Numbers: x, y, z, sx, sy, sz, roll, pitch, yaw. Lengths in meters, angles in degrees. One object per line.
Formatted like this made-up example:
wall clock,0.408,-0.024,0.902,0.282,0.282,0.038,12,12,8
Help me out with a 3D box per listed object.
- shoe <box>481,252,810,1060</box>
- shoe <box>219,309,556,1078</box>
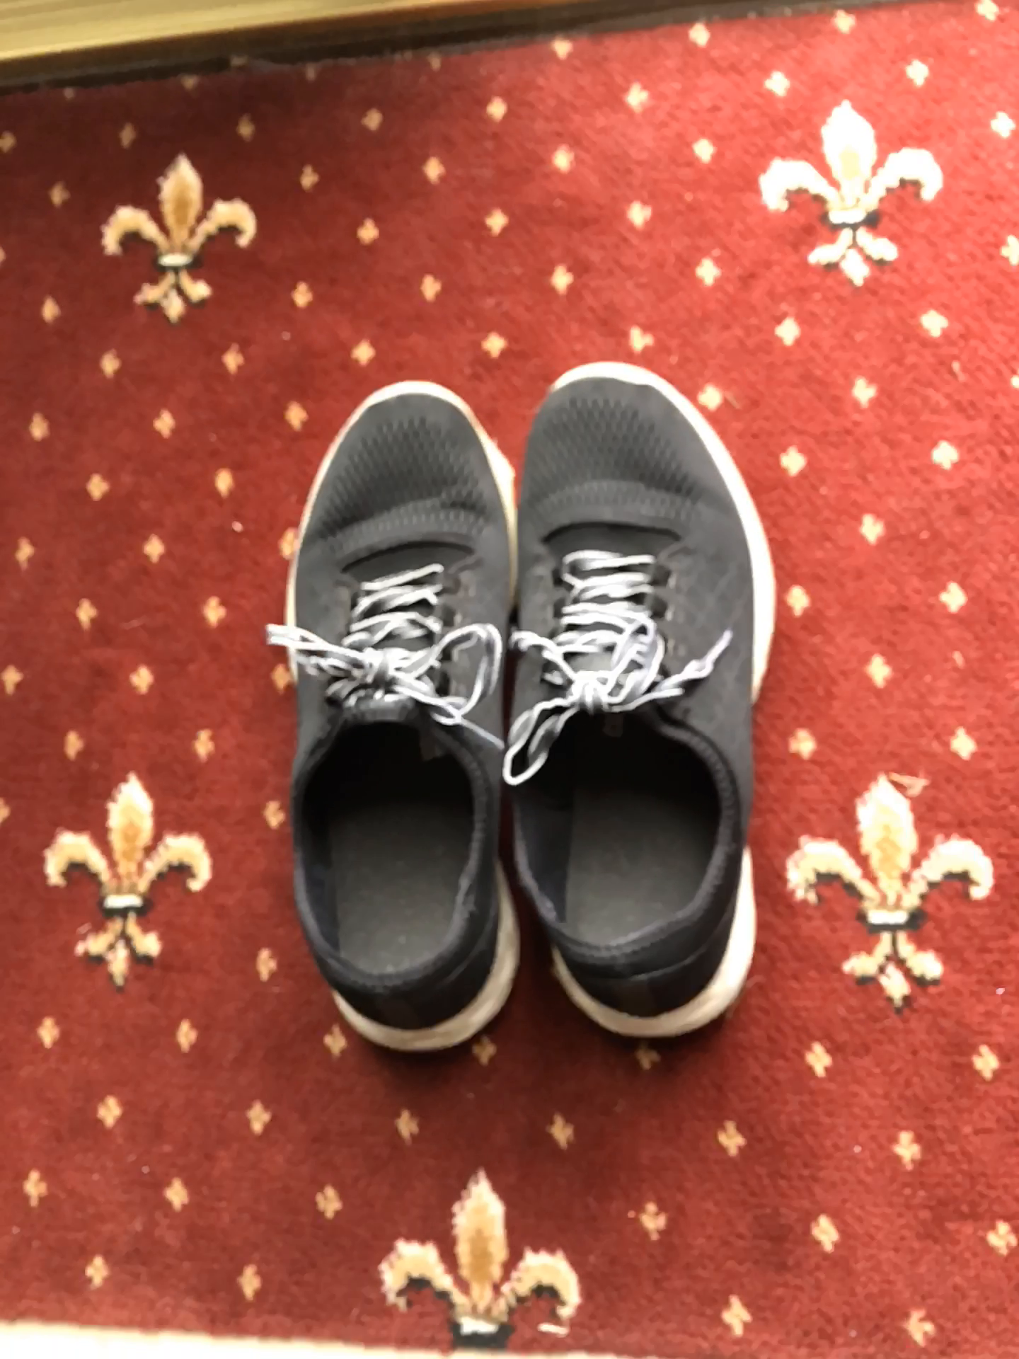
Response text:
shoe,0.050,-0.005,0.431,0.100,0.110,0.270,-1,77,9
shoe,-0.043,0.009,0.454,0.100,0.110,0.270,-4,77,8
